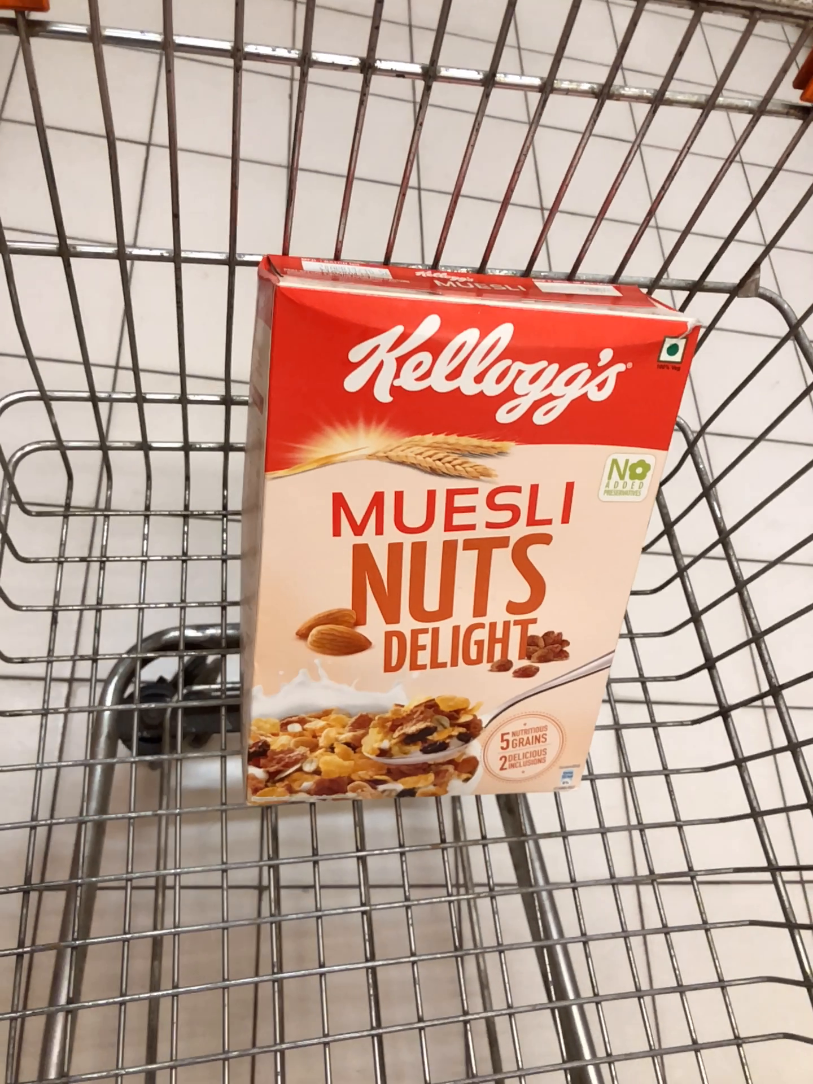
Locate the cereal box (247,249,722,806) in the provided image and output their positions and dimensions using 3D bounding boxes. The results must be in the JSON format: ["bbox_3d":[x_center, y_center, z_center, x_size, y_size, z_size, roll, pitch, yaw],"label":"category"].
[{"bbox_3d":[0.021,0.002,0.436,0.180,0.249,0.070,2,25,-13],"label":"cereal box"}]
